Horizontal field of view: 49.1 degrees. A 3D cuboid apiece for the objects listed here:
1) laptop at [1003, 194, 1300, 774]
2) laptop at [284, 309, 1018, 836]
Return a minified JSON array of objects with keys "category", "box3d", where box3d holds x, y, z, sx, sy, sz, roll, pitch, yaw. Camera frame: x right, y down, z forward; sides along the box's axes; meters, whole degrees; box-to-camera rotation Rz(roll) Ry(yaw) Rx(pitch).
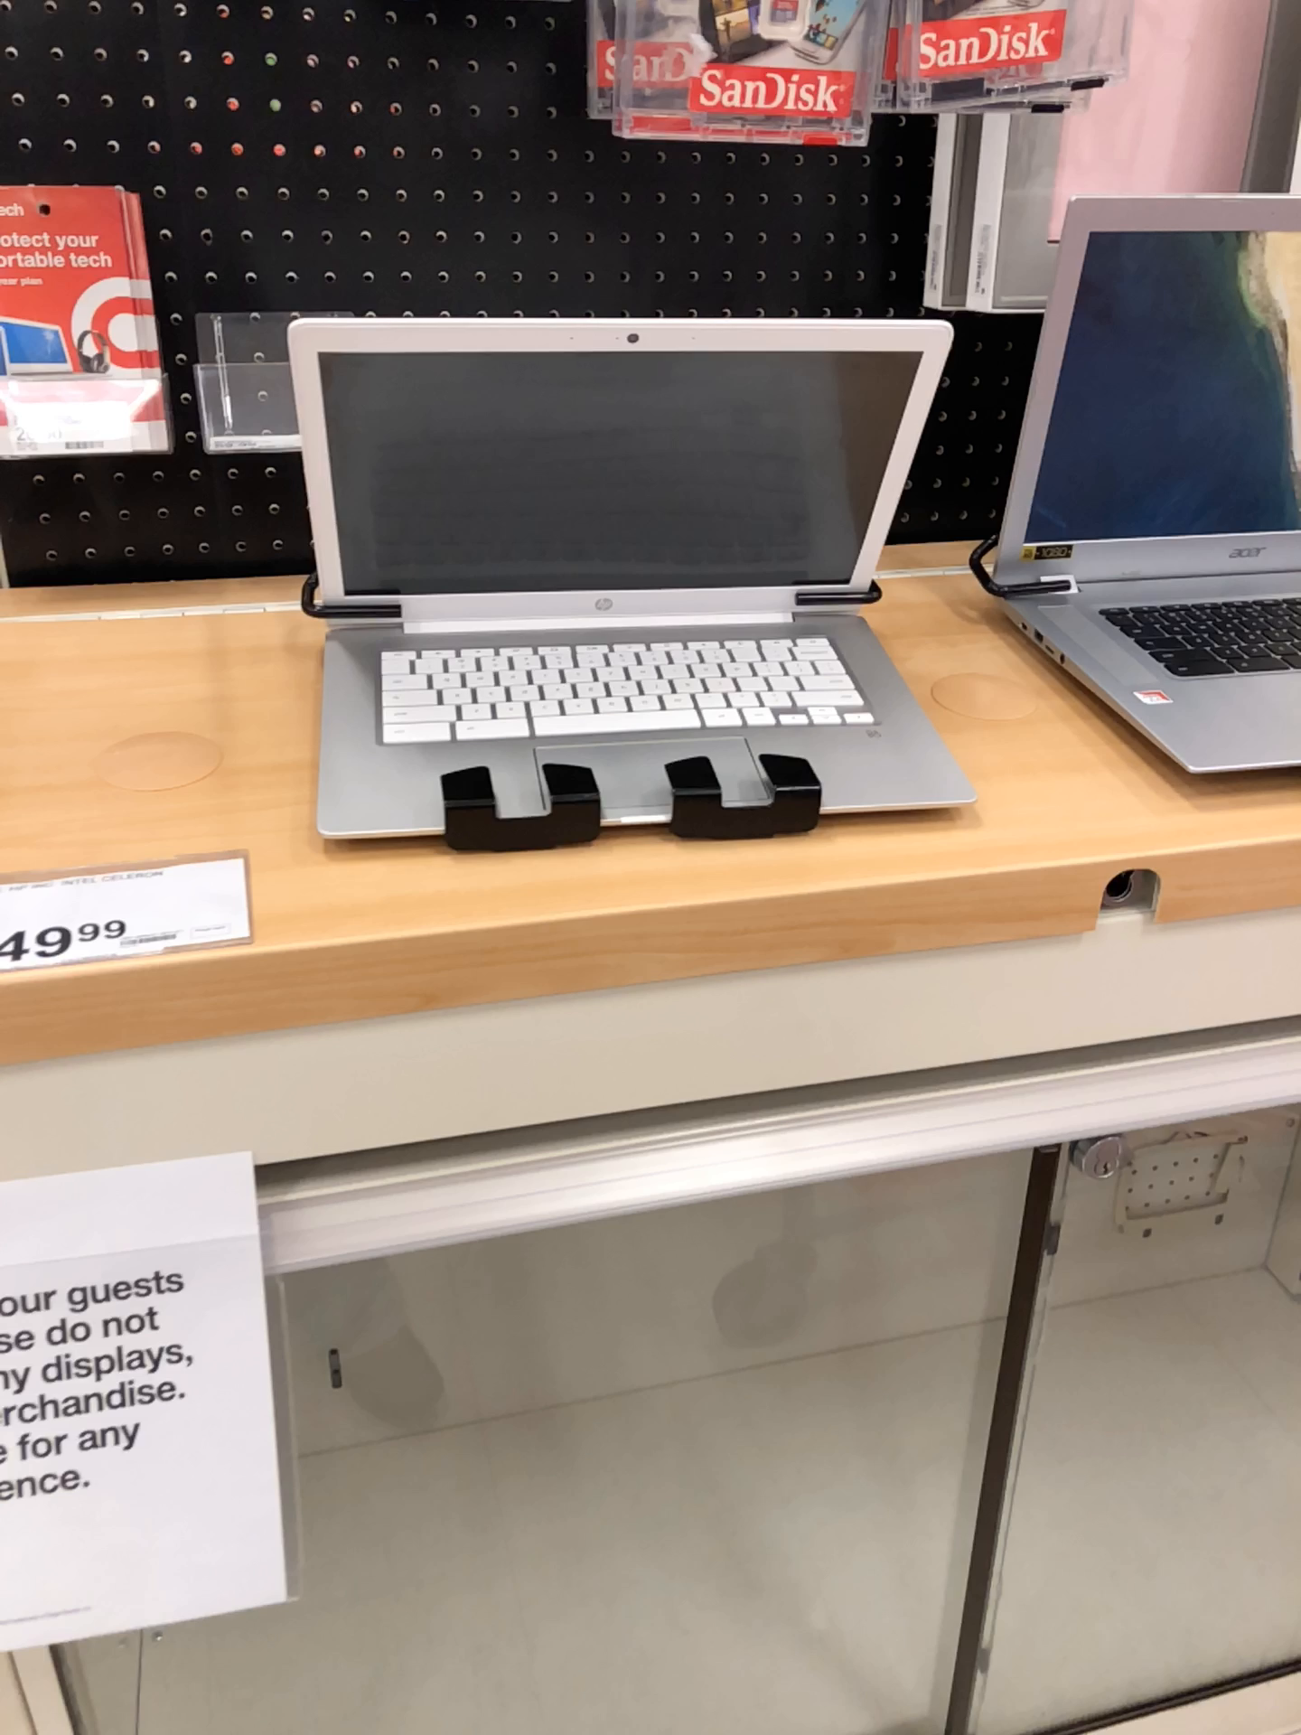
[{"category":"laptop","box3d":[0.409,-0.229,0.797,0.320,0.231,0.231,-5,30,-9]},{"category":"laptop","box3d":[-0.012,-0.163,0.731,0.322,0.172,0.201,-4,33,-9]}]
